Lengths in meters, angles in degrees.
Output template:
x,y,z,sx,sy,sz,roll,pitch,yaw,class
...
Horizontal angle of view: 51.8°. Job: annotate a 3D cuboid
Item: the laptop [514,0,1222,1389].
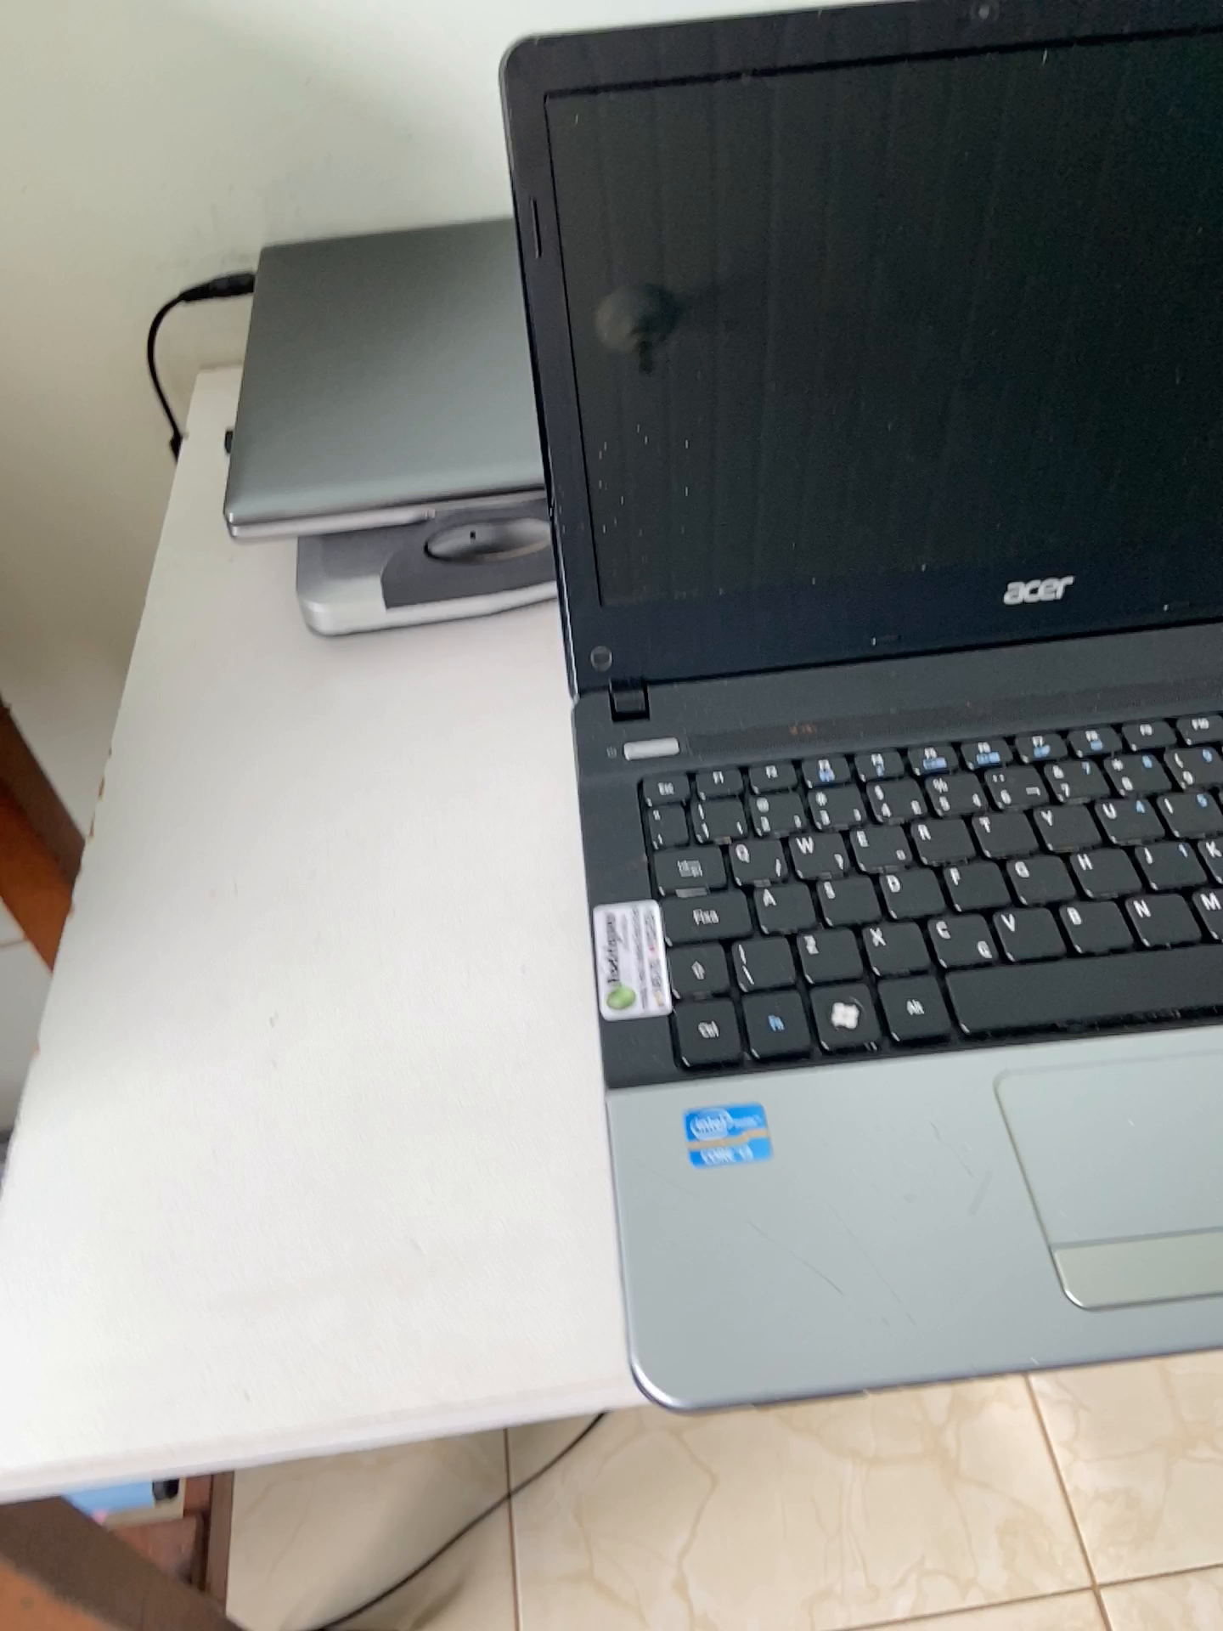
x,y,z,sx,sy,sz,roll,pitch,yaw,class
0.154,-0.088,0.360,0.332,0.163,0.398,-6,46,0,laptop
